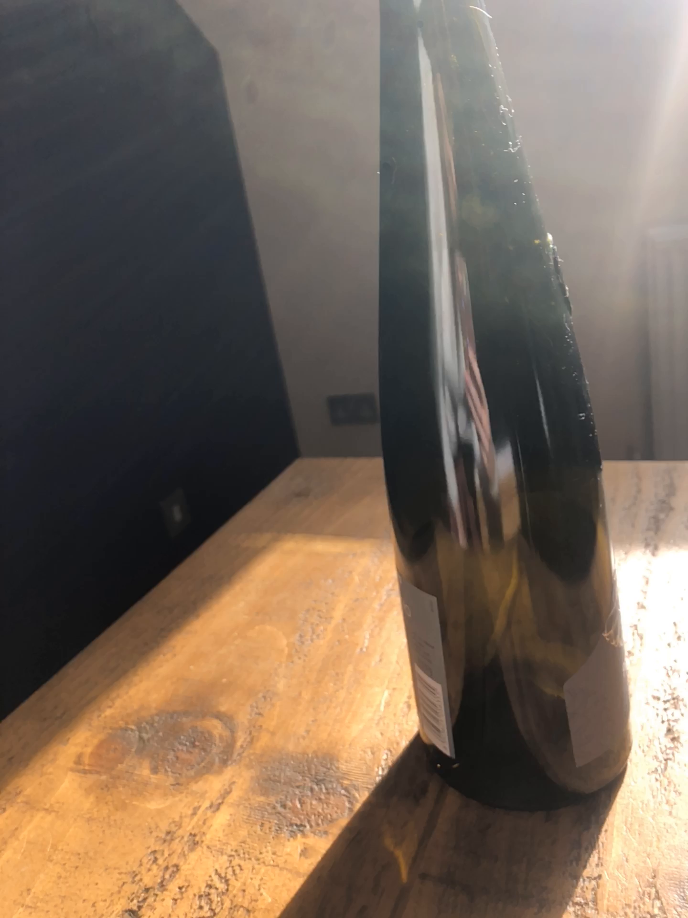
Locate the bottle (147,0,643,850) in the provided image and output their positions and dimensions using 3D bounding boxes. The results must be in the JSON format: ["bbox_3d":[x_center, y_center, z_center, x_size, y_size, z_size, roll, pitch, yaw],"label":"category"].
[{"bbox_3d":[0.031,-0.036,0.276,0.100,0.338,0.101,-9,21,3],"label":"bottle"}]
